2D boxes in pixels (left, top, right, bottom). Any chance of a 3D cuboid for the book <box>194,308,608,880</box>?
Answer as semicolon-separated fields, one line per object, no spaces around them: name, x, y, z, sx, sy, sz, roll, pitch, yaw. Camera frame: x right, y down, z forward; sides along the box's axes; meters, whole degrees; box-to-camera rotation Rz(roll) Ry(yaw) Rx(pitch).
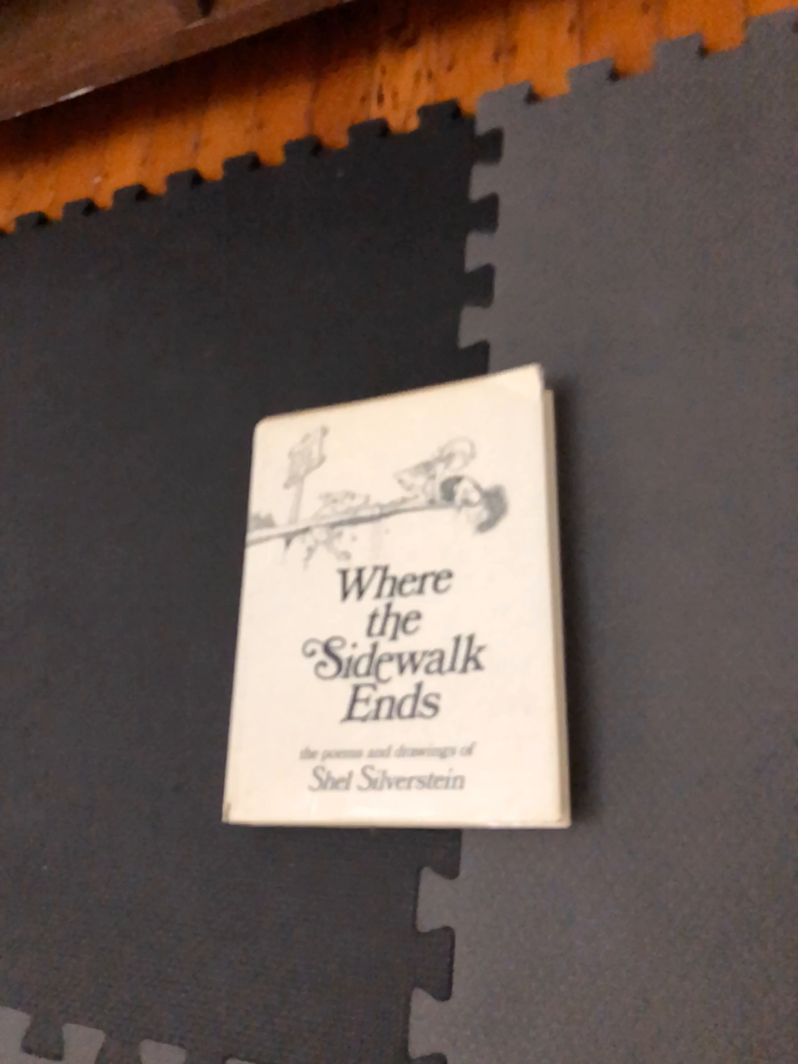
book;0.001;0.029;0.472;0.200;0.030;0.280;-7;67;23
